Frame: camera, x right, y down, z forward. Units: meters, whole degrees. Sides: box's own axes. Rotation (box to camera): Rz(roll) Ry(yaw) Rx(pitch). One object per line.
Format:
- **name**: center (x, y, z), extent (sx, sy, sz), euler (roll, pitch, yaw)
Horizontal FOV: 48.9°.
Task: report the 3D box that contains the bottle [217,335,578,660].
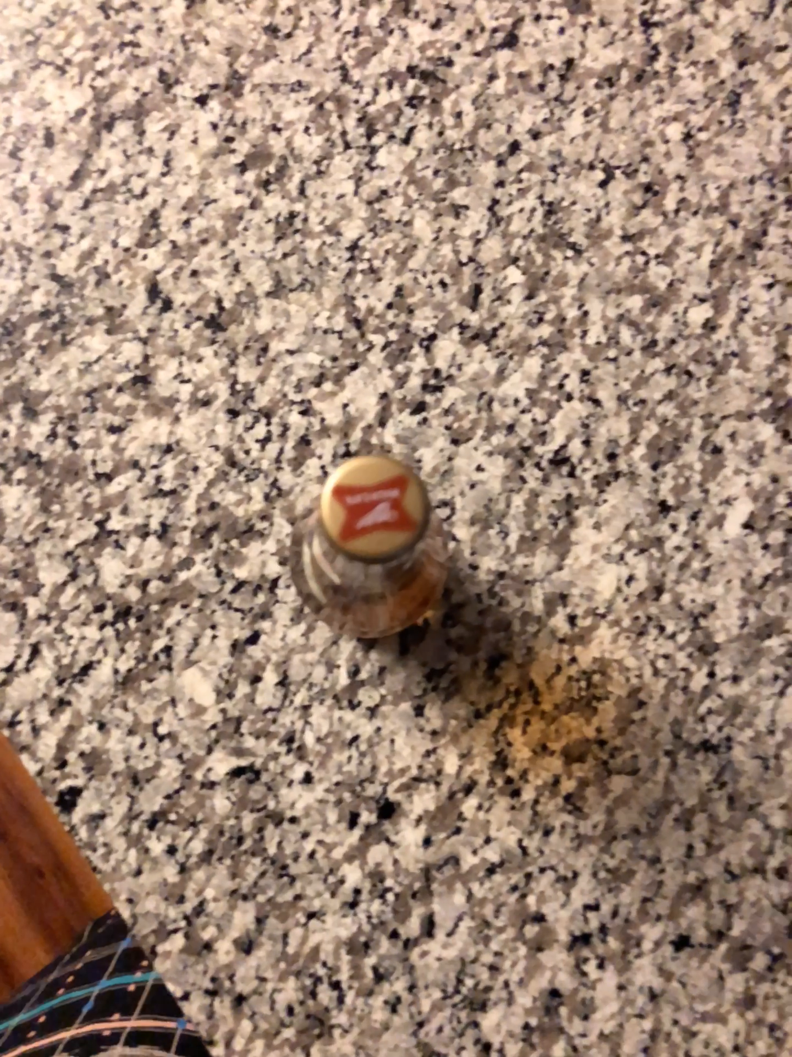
- **bottle**: center (-0.002, 0.005, 0.311), extent (0.070, 0.230, 0.060), euler (12, 83, 0)
